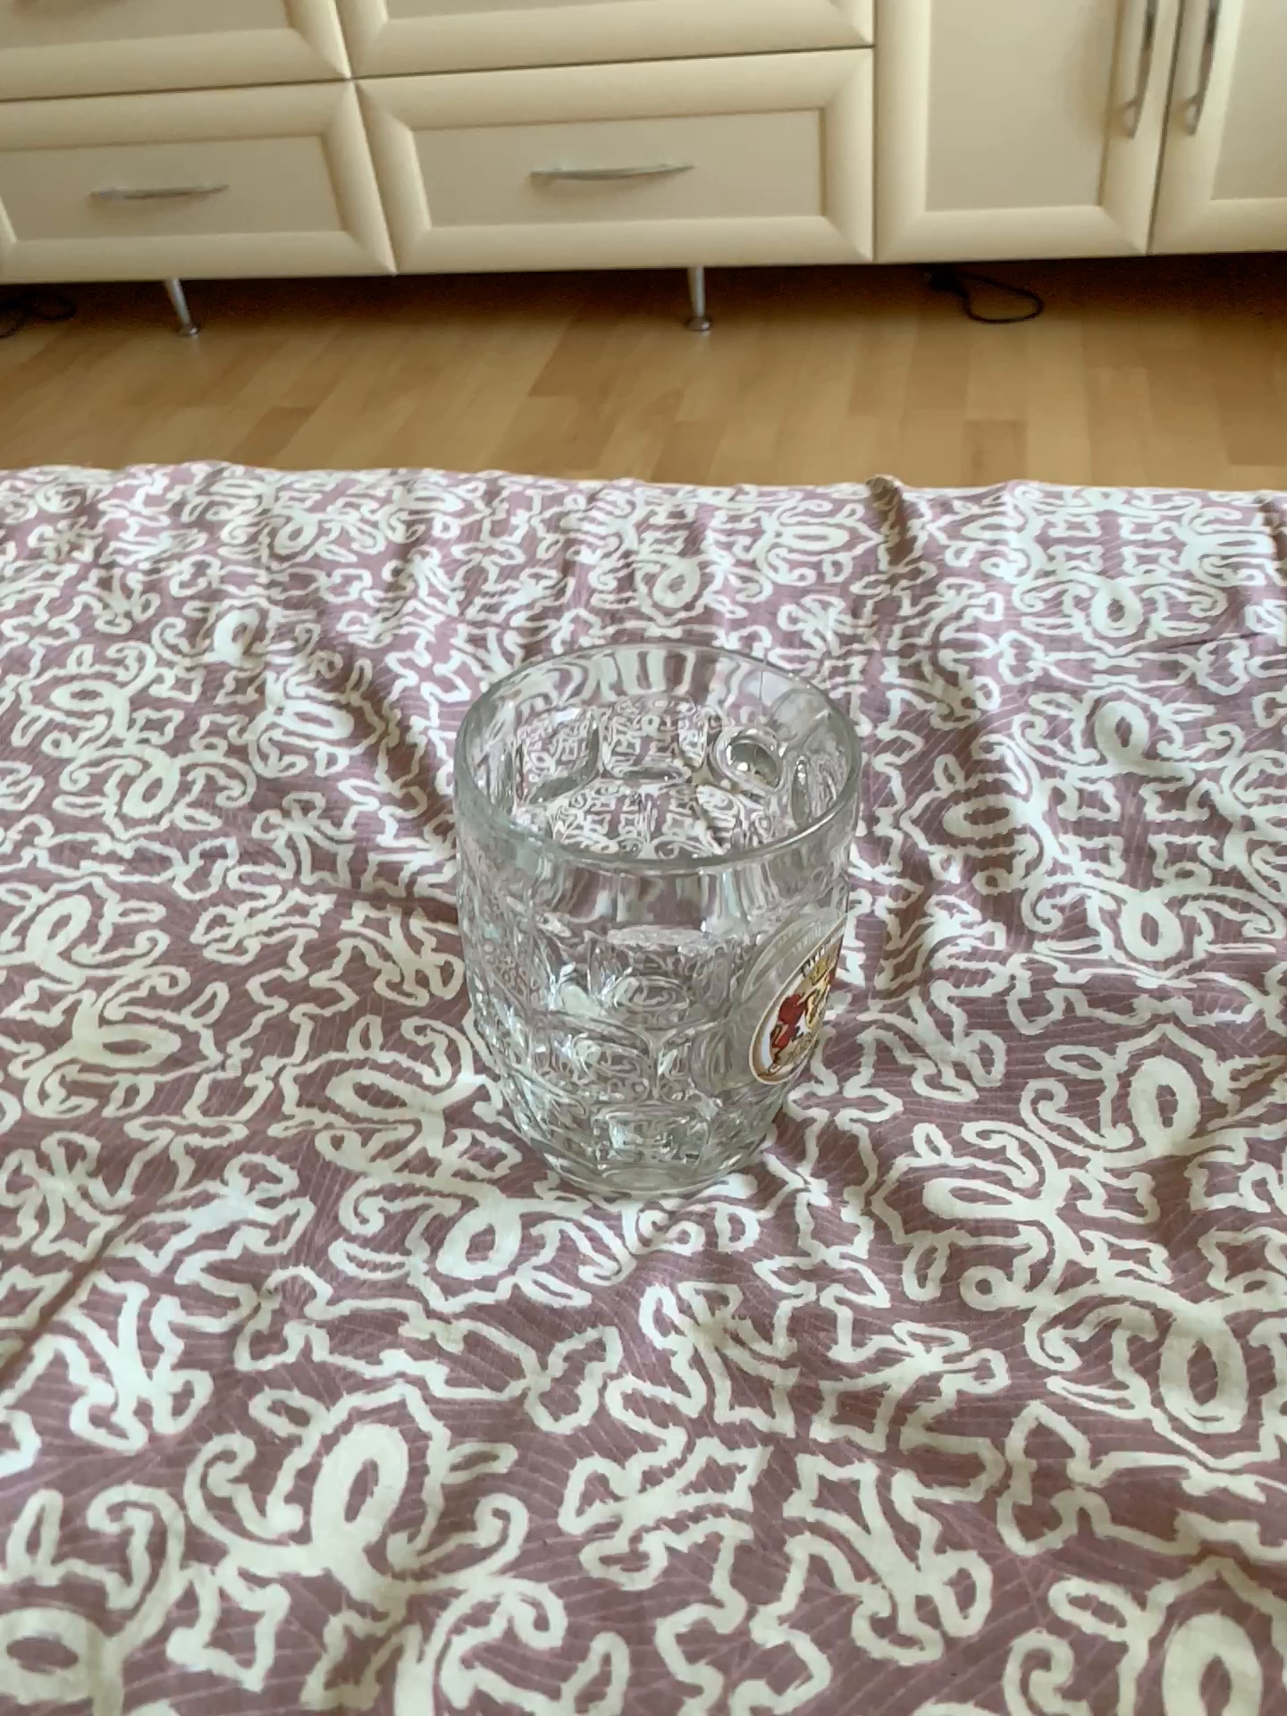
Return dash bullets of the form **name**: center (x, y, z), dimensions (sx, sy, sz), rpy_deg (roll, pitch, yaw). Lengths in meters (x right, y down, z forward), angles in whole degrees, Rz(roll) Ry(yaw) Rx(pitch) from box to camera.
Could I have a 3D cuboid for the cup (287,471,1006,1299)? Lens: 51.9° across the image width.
- **cup**: center (0.009, 0.000, 0.304), dimensions (0.090, 0.109, 0.131), rpy_deg (22, 50, 23)
